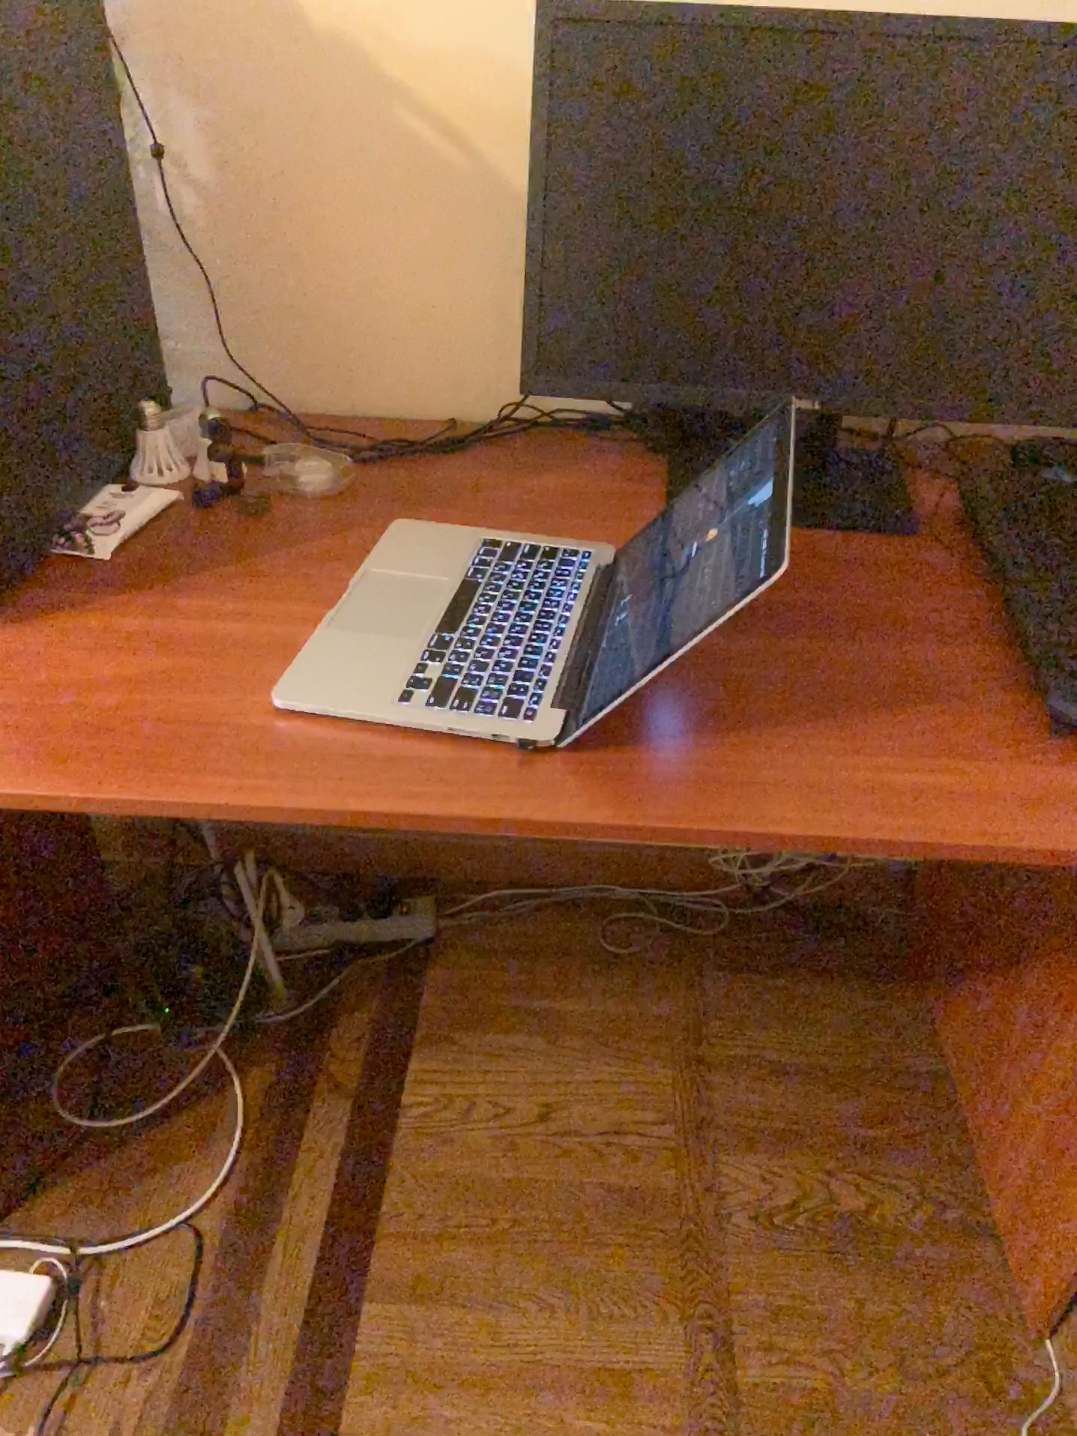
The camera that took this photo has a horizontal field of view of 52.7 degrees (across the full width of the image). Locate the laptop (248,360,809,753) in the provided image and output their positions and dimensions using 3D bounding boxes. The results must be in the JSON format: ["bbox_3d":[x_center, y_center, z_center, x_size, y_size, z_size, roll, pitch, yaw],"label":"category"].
[{"bbox_3d":[0.014,-0.135,0.796,0.333,0.139,0.287,6,37,9],"label":"laptop"}]
